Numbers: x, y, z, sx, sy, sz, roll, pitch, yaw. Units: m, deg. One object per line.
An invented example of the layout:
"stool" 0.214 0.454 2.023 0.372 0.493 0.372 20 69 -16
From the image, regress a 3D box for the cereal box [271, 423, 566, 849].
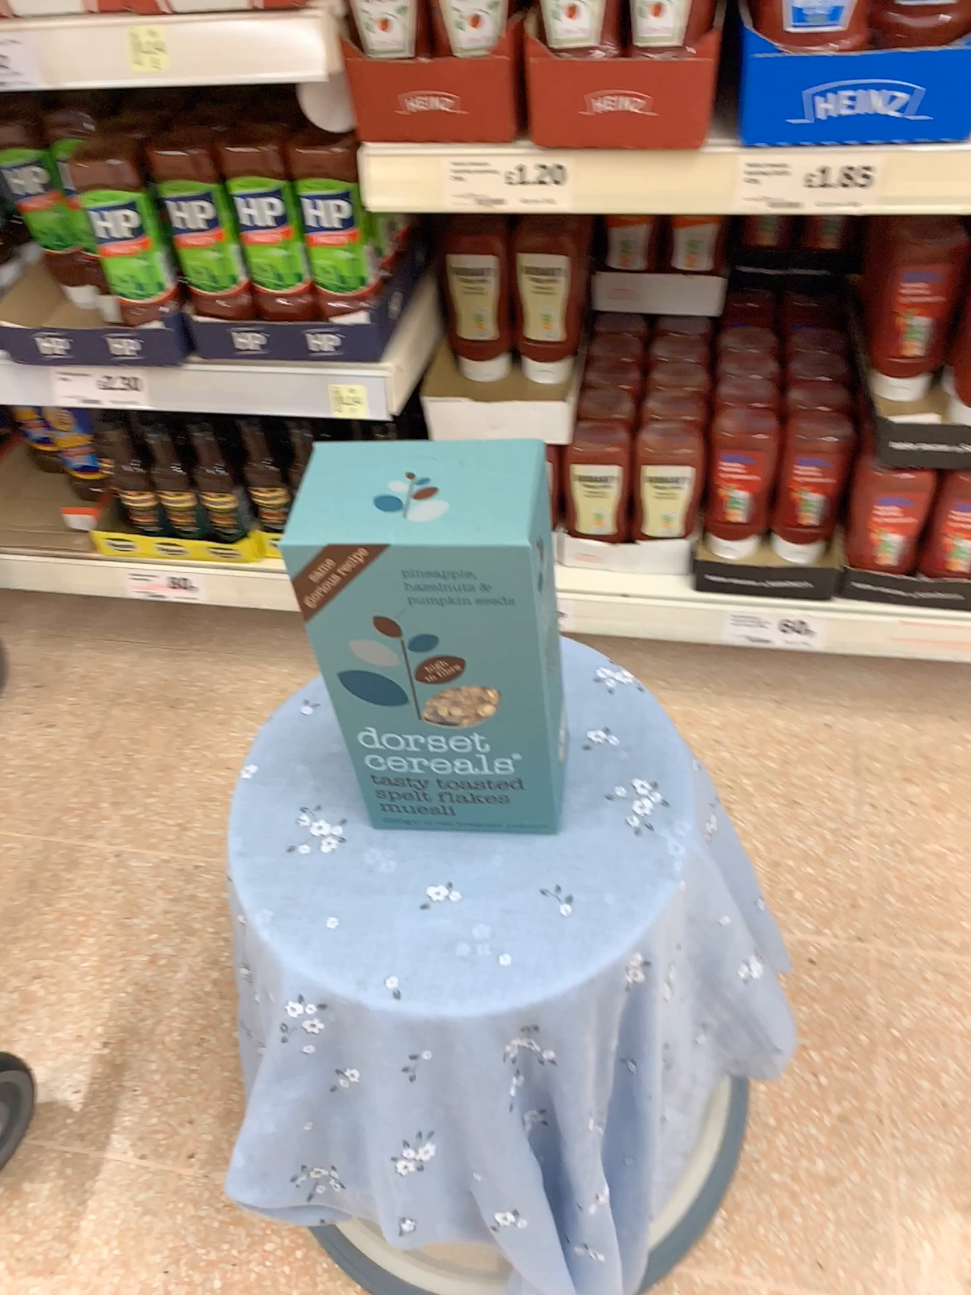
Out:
"cereal box" -0.020 0.005 0.545 0.120 0.238 0.091 0 46 7
